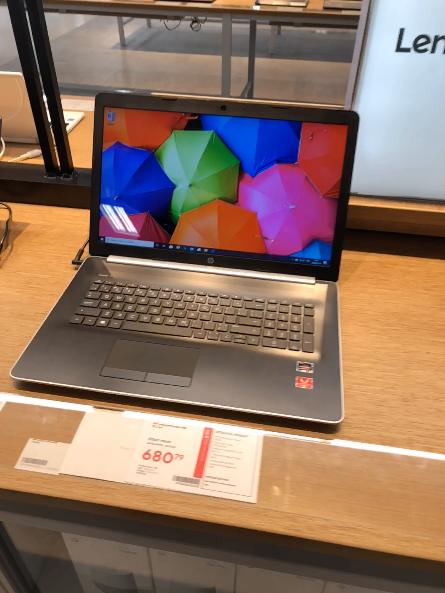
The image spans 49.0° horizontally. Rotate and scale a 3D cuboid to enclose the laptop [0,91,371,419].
[{"bbox_3d":[-0.031,-0.092,0.684,0.399,0.217,0.399,6,42,6],"label":"laptop"}]
